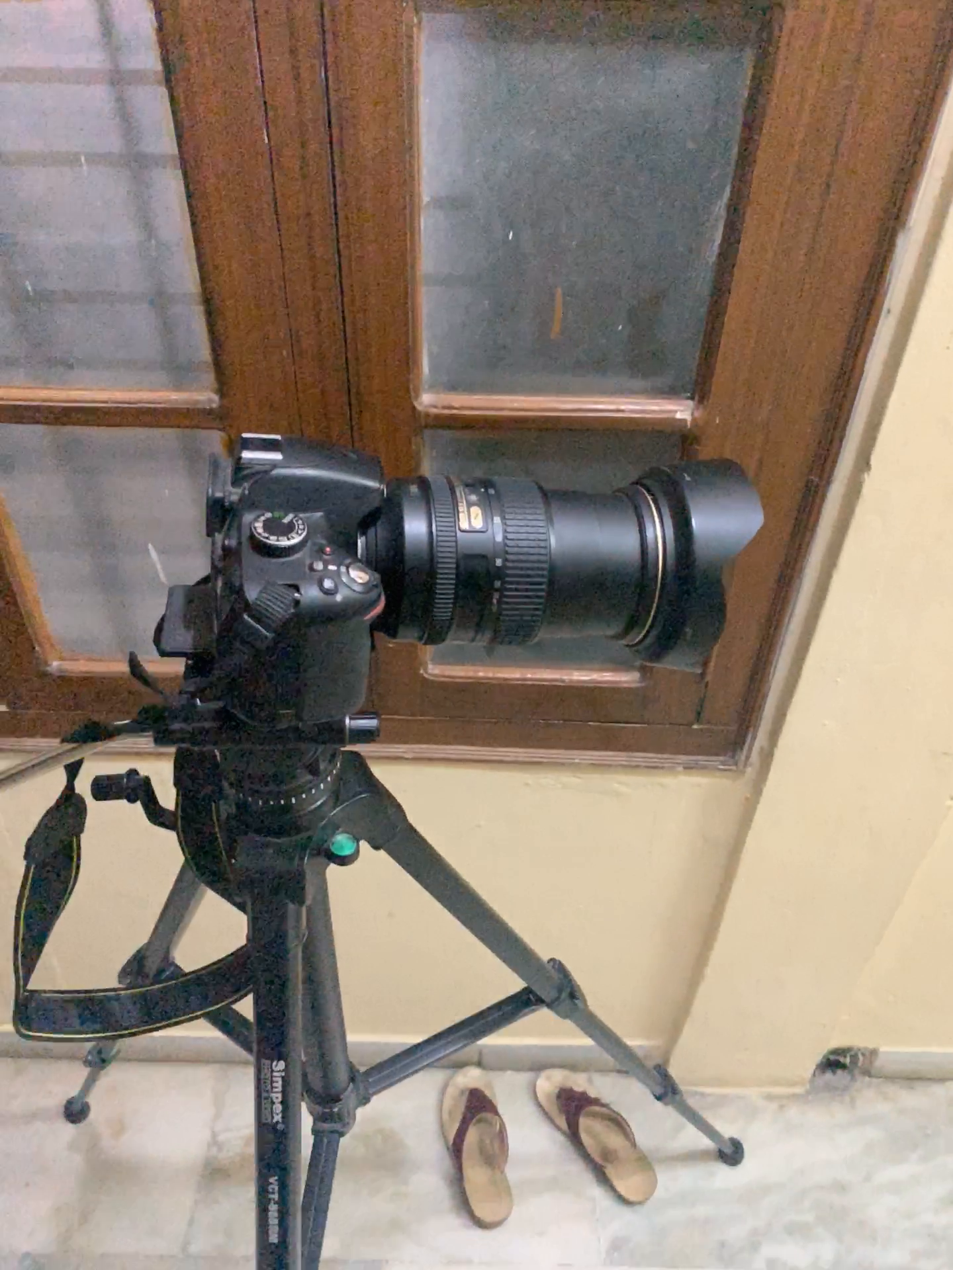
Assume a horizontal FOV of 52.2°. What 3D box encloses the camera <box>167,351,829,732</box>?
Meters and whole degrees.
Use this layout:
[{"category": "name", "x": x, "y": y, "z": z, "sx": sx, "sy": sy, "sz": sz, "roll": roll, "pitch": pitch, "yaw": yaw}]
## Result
[{"category": "camera", "x": 0.002, "y": -0.044, "z": 0.478, "sx": 0.270, "sy": 0.119, "sz": 0.131, "roll": 2, "pitch": 41, "yaw": -9}]
